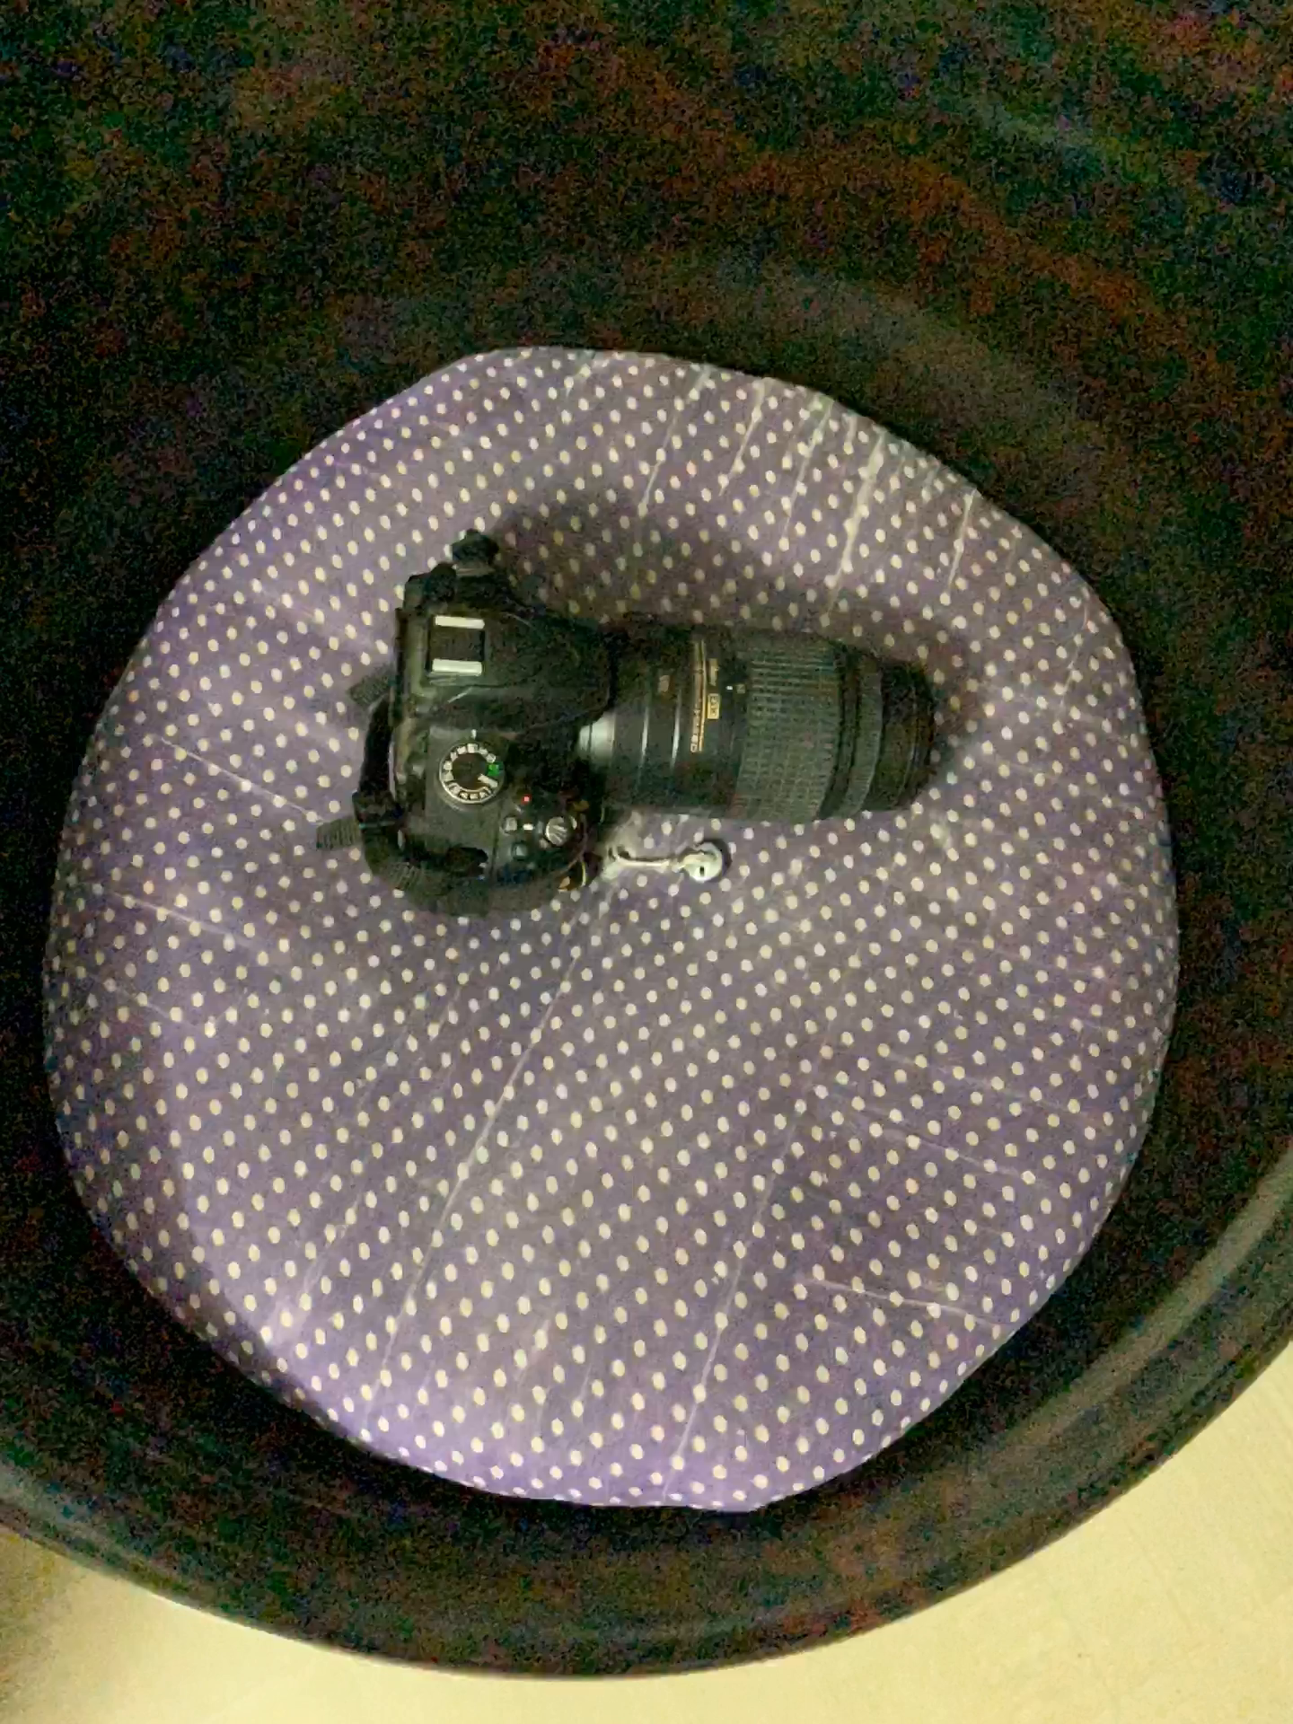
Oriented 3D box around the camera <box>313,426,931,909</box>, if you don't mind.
[{"bbox_3d":[-0.013,-0.064,0.490,0.200,0.100,0.140,1,74,-9],"label":"camera"}]
